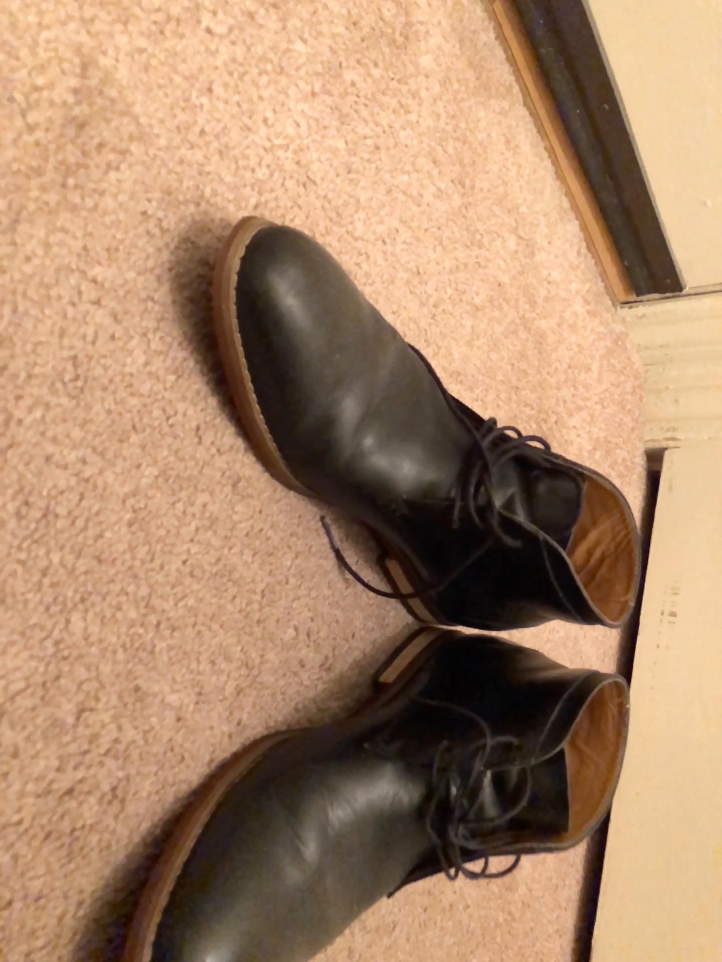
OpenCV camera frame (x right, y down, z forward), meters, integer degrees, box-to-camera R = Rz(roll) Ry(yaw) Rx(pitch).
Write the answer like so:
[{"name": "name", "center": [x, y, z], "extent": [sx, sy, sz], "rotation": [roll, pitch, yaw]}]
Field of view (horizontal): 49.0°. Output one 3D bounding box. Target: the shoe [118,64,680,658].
[{"name": "shoe", "center": [0.052, -0.024, 0.406], "extent": [0.303, 0.135, 0.116], "rotation": [44, 55, -45]}]

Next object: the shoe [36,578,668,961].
[{"name": "shoe", "center": [0.033, 0.166, 0.377], "extent": [0.304, 0.135, 0.116], "rotation": [-29, 114, -51]}]
